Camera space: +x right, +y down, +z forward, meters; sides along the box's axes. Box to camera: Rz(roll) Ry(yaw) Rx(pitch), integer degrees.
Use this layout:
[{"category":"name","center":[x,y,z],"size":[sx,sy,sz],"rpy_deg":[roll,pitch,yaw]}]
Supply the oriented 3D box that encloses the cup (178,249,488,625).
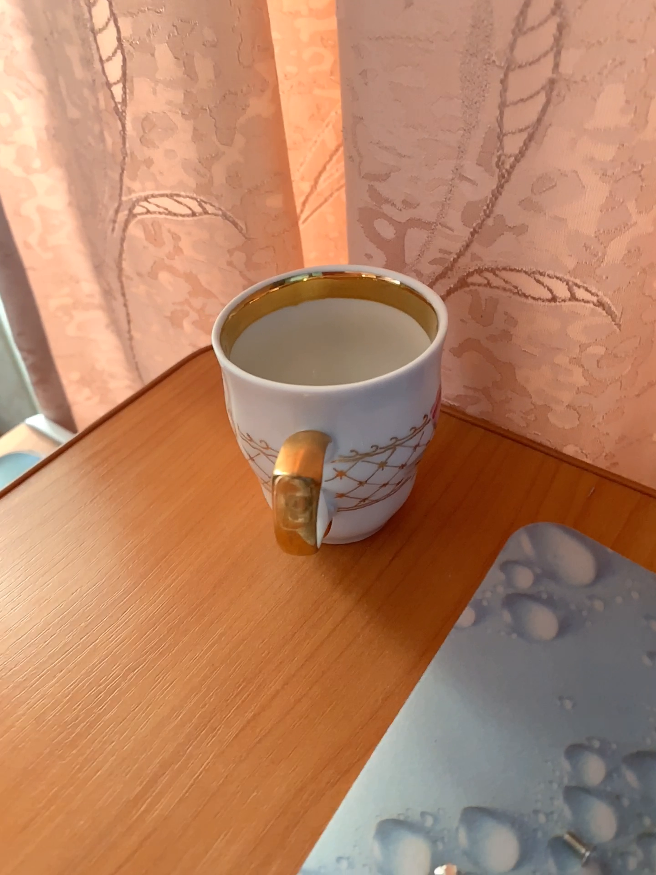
[{"category":"cup","center":[0.002,-0.003,0.180],"size":[0.059,0.055,0.083],"rpy_deg":[-2,42,2]}]
